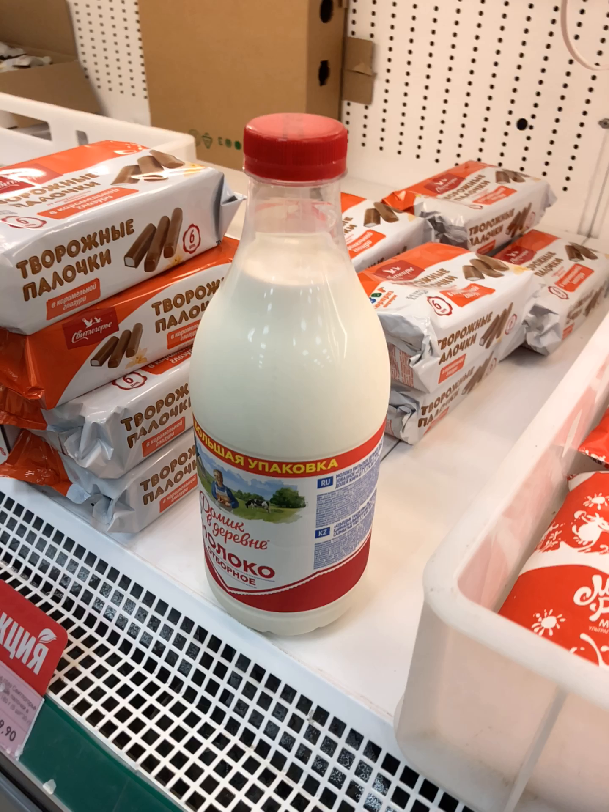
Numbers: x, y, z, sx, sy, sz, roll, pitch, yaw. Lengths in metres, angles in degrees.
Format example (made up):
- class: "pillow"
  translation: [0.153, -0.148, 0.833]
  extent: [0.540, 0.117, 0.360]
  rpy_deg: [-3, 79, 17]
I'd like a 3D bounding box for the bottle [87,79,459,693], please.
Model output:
- class: "bottle"
  translation: [-0.014, 0.002, 0.338]
  extent: [0.110, 0.278, 0.090]
  rpy_deg: [27, 43, 31]
